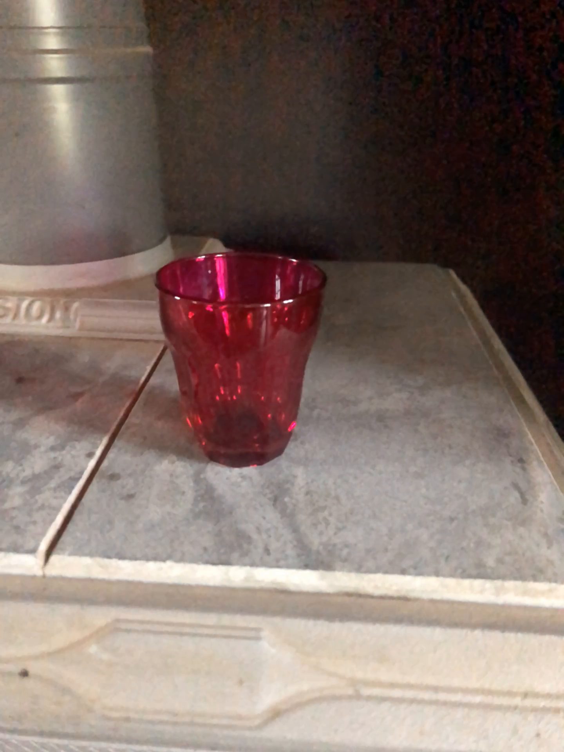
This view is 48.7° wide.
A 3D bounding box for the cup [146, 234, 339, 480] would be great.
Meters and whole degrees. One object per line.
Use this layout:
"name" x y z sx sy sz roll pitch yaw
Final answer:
"cup" -0.020 -0.013 0.278 0.070 0.080 0.080 -4 26 -8
